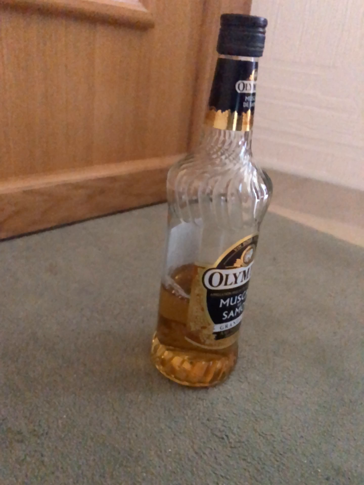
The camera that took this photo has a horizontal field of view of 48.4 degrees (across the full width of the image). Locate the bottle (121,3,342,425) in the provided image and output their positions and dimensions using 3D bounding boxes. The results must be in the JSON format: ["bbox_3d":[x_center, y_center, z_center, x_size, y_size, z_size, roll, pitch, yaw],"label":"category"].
[{"bbox_3d":[0.021,-0.013,0.315,0.090,0.288,0.090,6,25,-3],"label":"bottle"}]
